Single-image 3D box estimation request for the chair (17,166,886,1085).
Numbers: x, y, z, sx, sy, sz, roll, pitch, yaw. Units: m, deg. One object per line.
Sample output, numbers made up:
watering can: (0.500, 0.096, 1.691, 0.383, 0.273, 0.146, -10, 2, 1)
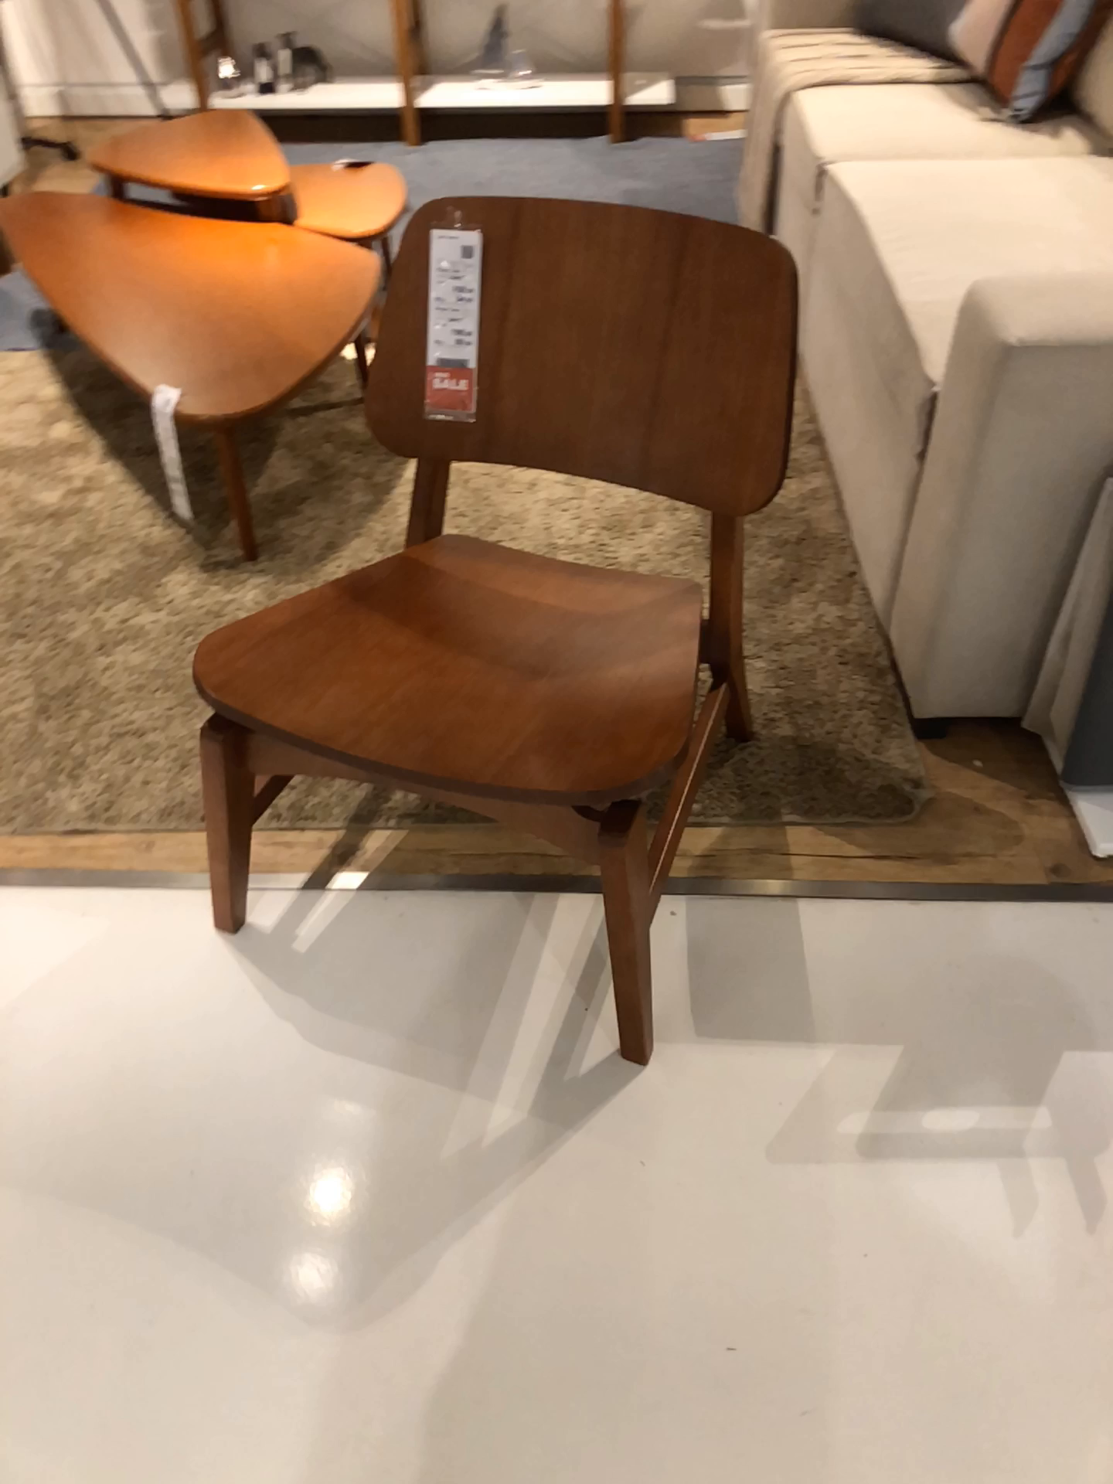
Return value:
chair: (-0.041, -0.161, 1.333, 0.581, 0.655, 0.634, 14, 44, 17)
